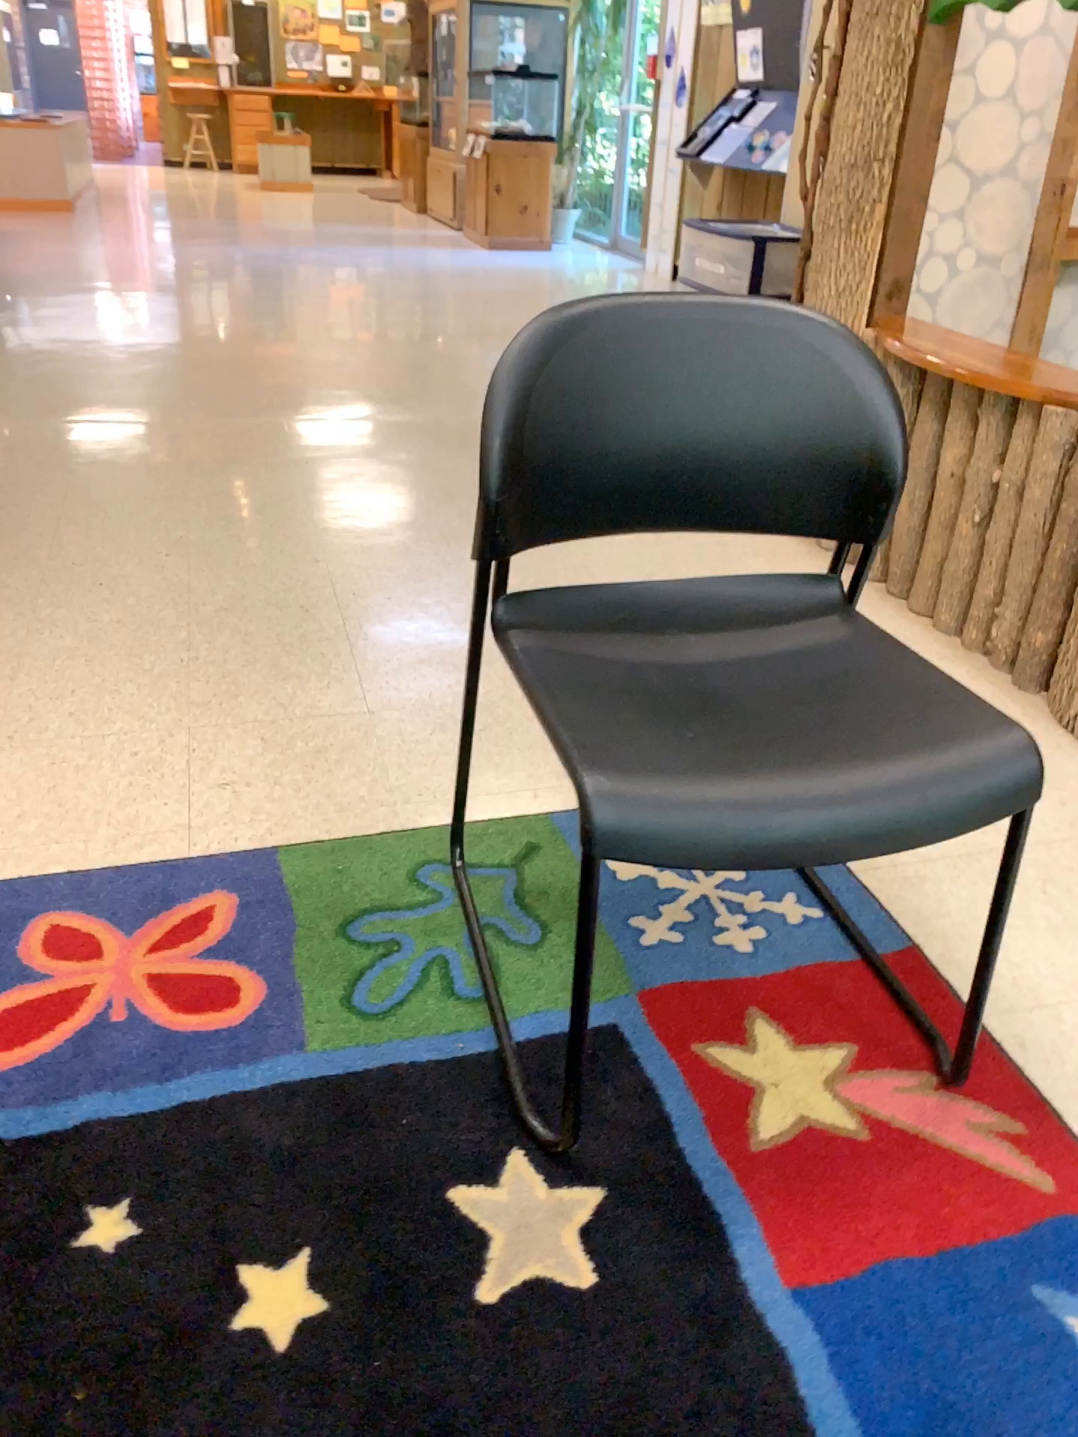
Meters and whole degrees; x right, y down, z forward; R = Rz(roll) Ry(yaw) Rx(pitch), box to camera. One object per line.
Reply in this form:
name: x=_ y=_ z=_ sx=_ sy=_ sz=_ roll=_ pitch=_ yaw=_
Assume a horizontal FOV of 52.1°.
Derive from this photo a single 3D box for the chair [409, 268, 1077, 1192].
chair: x=0.191 y=-0.031 z=1.204 sx=0.570 sy=0.785 sz=0.533 roll=-5 pitch=29 yaw=-16
